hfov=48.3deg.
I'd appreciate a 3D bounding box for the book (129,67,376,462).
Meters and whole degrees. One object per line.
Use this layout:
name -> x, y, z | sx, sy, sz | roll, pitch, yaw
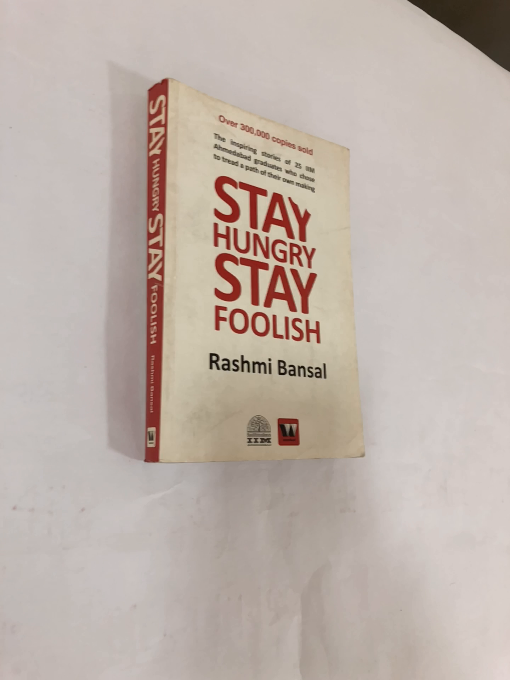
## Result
book -> 0.001, -0.032, 0.315 | 0.131, 0.040, 0.190 | 7, 76, -36
